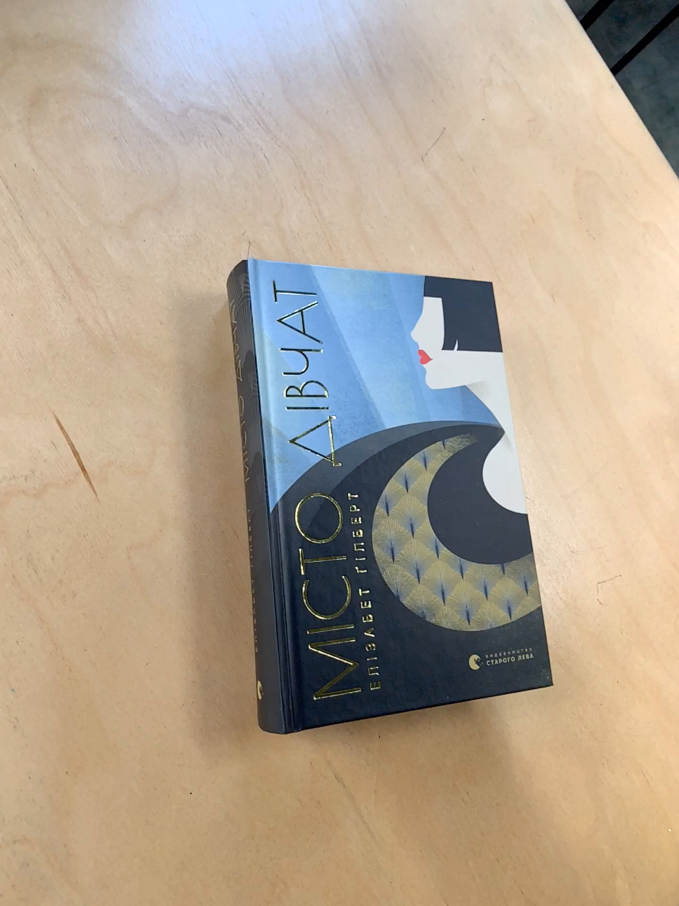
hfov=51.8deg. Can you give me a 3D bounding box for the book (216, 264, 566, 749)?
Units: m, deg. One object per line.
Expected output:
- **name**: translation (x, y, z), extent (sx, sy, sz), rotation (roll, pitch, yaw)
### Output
- **book**: translation (0.022, 0.017, 0.327), extent (0.135, 0.043, 0.197), rotation (-3, 80, -22)
